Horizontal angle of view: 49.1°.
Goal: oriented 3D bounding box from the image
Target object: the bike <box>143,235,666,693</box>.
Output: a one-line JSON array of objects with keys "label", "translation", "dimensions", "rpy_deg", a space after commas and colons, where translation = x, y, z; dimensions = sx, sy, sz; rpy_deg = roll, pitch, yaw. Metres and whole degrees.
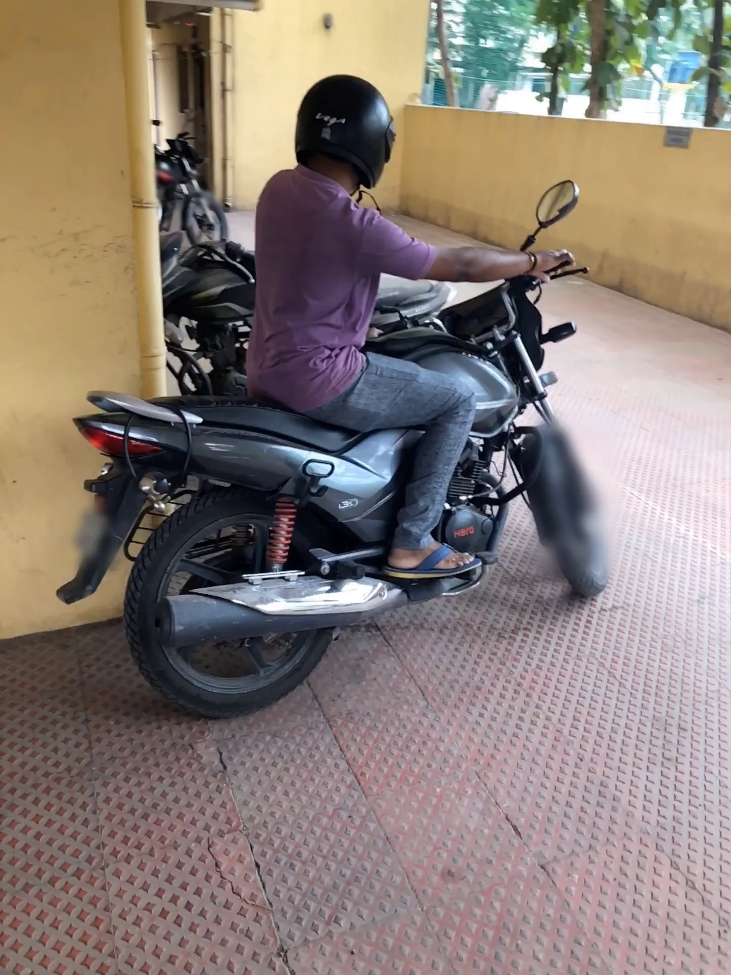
[{"label": "bike", "translation": [0.102, -0.167, 2.386], "dimensions": [1.239, 1.000, 0.702], "rpy_deg": [-12, 30, -33]}]
